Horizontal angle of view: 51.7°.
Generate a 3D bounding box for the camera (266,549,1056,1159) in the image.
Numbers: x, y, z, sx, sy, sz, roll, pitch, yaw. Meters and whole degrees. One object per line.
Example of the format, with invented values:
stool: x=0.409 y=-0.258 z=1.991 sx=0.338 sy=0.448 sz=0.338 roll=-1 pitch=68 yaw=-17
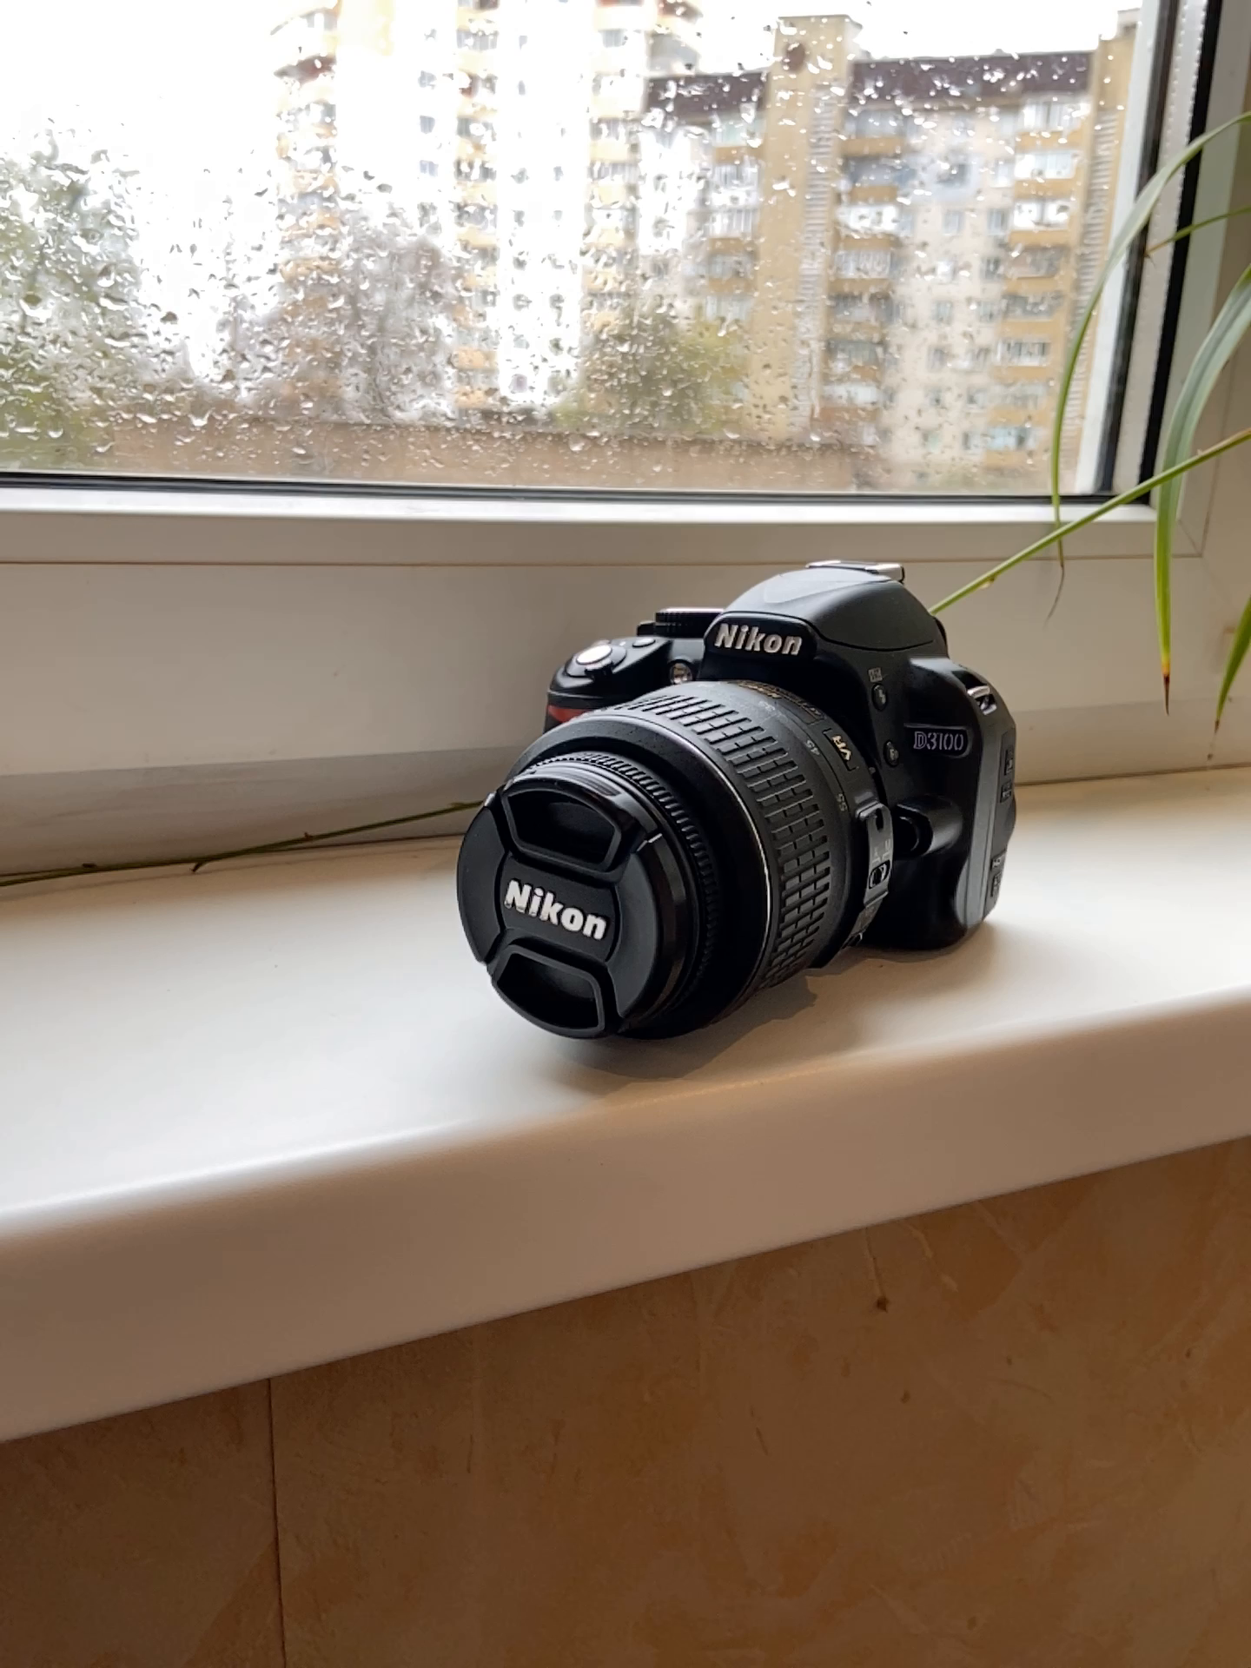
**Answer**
camera: x=0.017 y=-0.015 z=0.318 sx=0.121 sy=0.092 sz=0.159 roll=12 pitch=20 yaw=31
